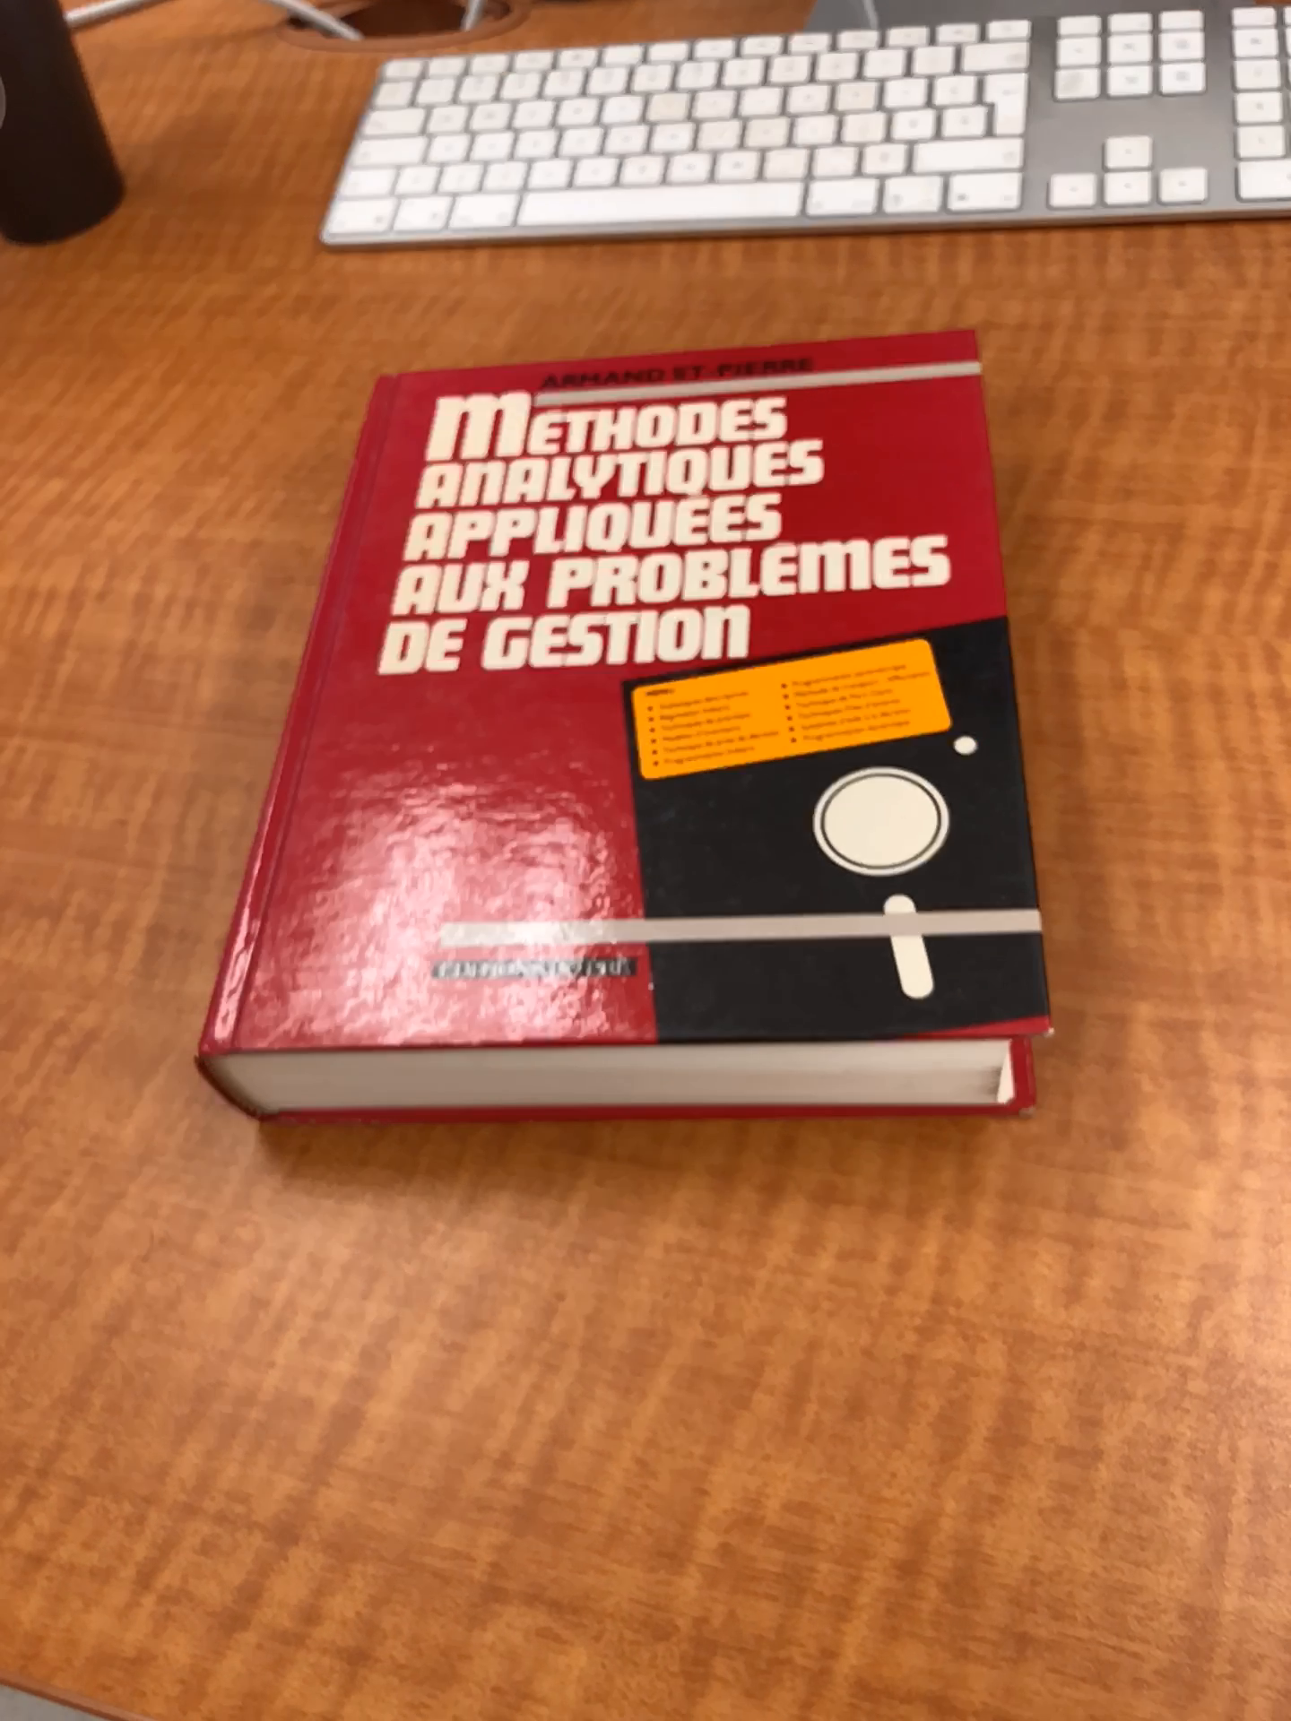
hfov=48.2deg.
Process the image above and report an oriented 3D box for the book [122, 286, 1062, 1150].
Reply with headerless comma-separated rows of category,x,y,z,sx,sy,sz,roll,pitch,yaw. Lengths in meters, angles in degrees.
book,-0.004,-0.050,0.392,0.200,0.050,0.251,-1,56,9
